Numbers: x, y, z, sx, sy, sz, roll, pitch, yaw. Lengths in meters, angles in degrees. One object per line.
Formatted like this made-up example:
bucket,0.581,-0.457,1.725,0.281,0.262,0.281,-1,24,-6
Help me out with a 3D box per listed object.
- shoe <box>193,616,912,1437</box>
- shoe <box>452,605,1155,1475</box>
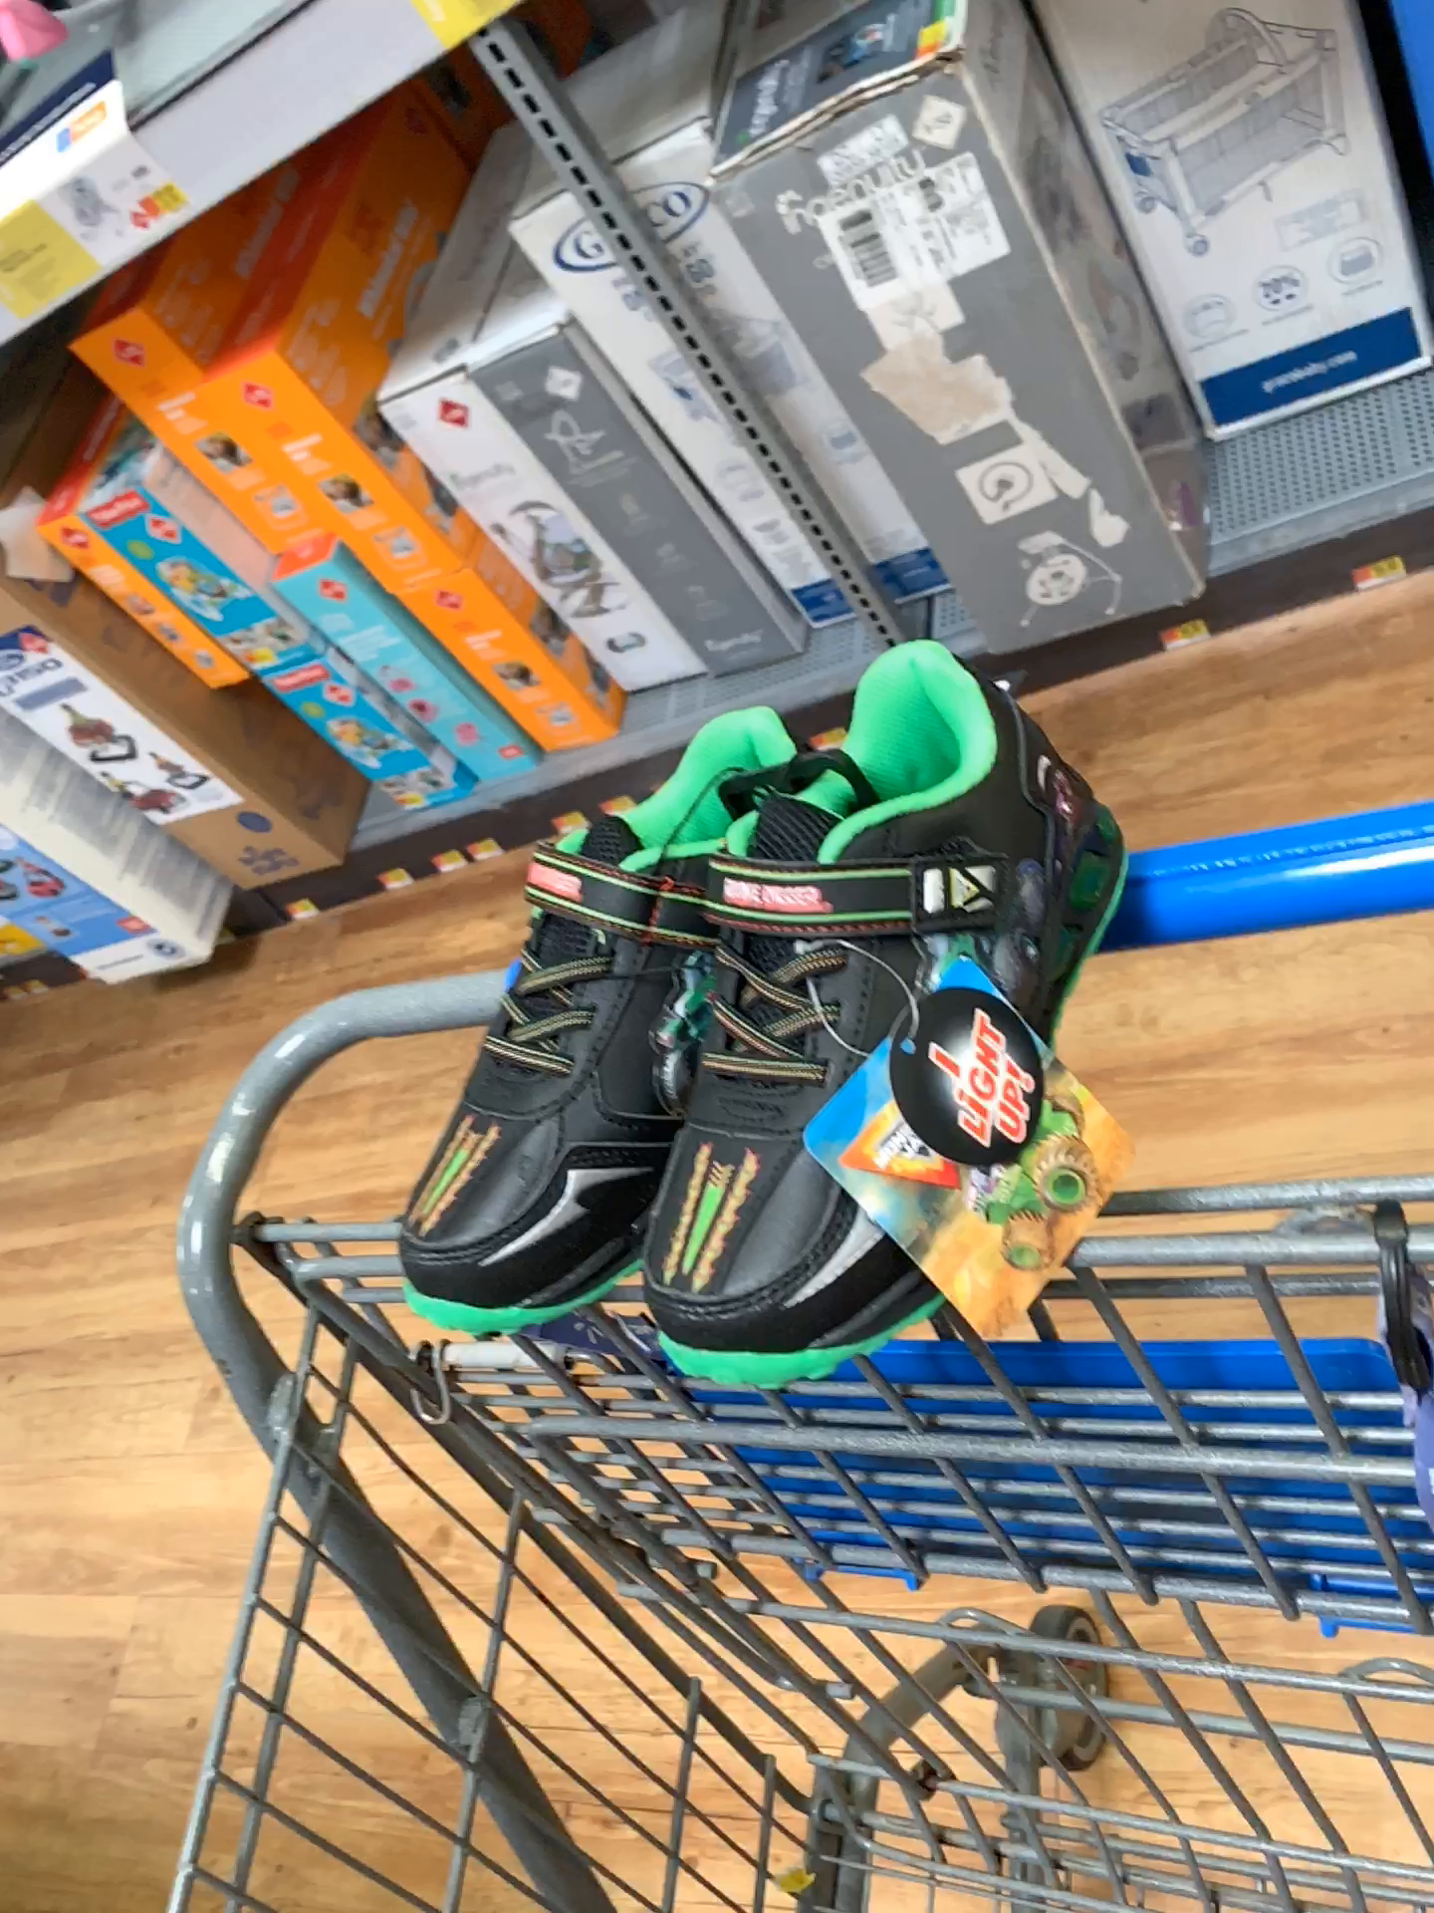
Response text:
shoe,-0.041,0.012,0.434,0.090,0.086,0.213,13,68,42
shoe,0.032,0.017,0.393,0.095,0.093,0.194,5,63,39
